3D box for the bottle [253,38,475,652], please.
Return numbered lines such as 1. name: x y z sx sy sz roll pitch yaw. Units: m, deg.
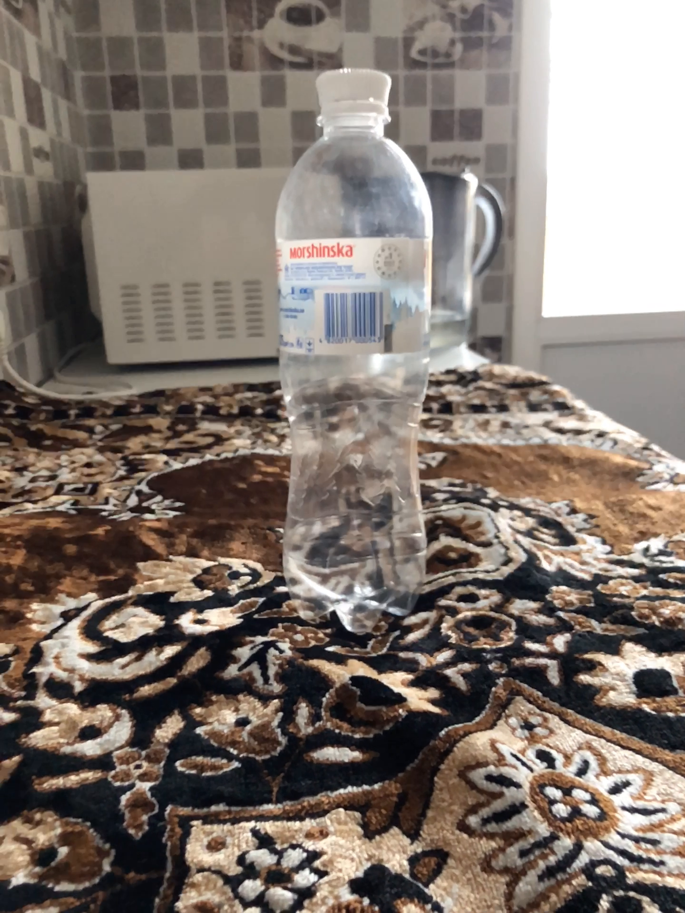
1. bottle: 0.005 -0.047 0.357 0.080 0.249 0.090 -3 15 -9
